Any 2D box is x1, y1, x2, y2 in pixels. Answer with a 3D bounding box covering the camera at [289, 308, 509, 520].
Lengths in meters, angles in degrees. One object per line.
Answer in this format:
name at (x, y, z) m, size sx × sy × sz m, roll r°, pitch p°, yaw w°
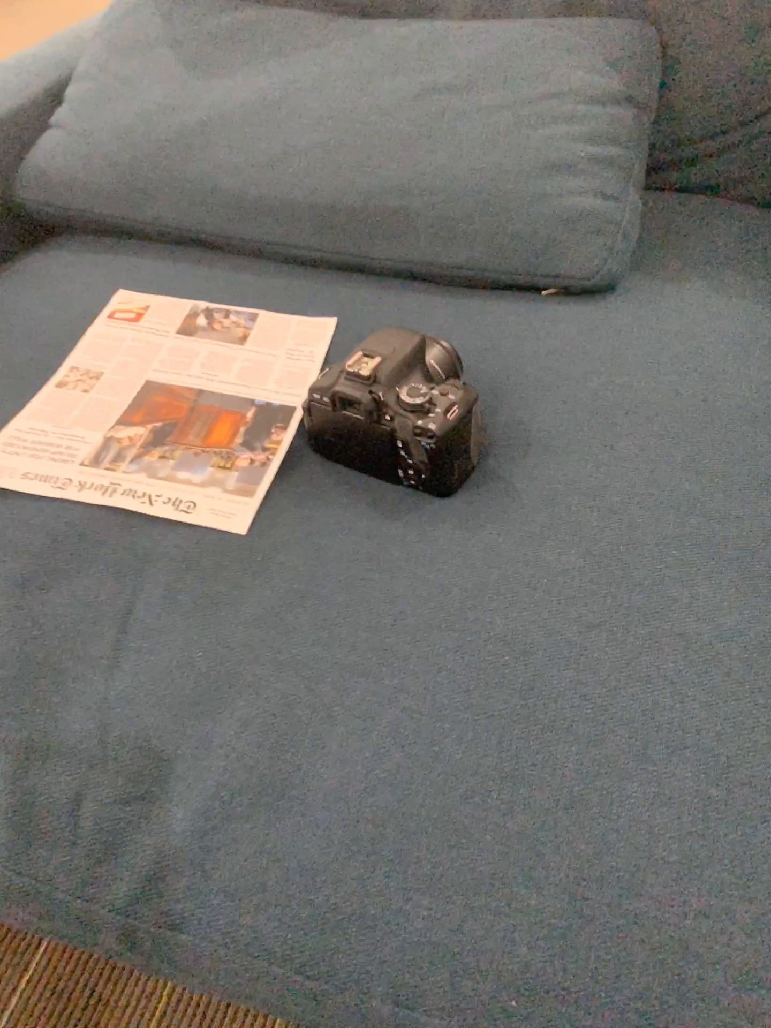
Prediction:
camera at (0.014, -0.088, 0.667) m, size 0.140 × 0.100 × 0.110 m, roll 21°, pitch 50°, yaw 24°
